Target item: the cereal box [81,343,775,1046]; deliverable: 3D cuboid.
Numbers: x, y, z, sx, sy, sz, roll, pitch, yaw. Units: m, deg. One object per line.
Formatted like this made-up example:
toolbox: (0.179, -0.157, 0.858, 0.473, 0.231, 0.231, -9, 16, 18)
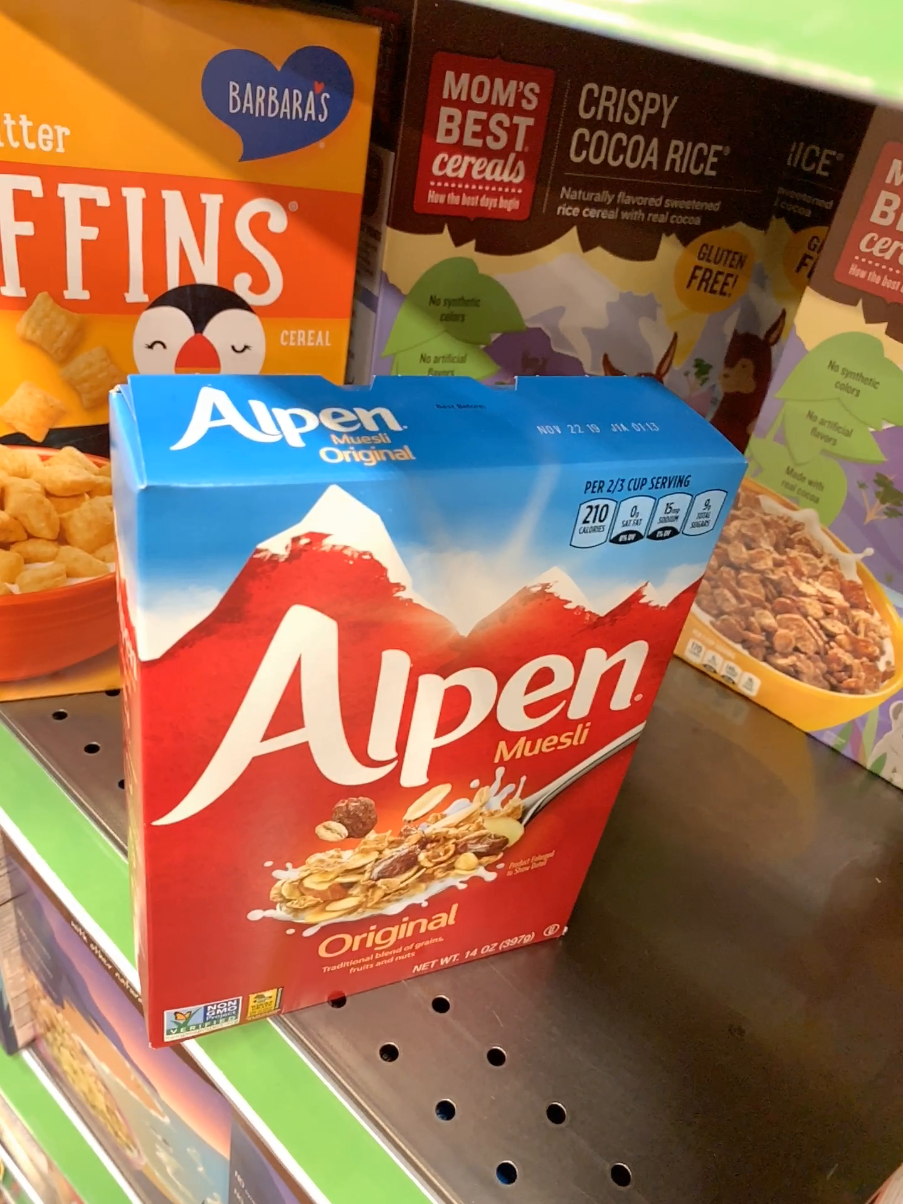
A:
cereal box: (-0.016, 0.033, 0.277, 0.160, 0.209, 0.040, -6, 38, -24)
